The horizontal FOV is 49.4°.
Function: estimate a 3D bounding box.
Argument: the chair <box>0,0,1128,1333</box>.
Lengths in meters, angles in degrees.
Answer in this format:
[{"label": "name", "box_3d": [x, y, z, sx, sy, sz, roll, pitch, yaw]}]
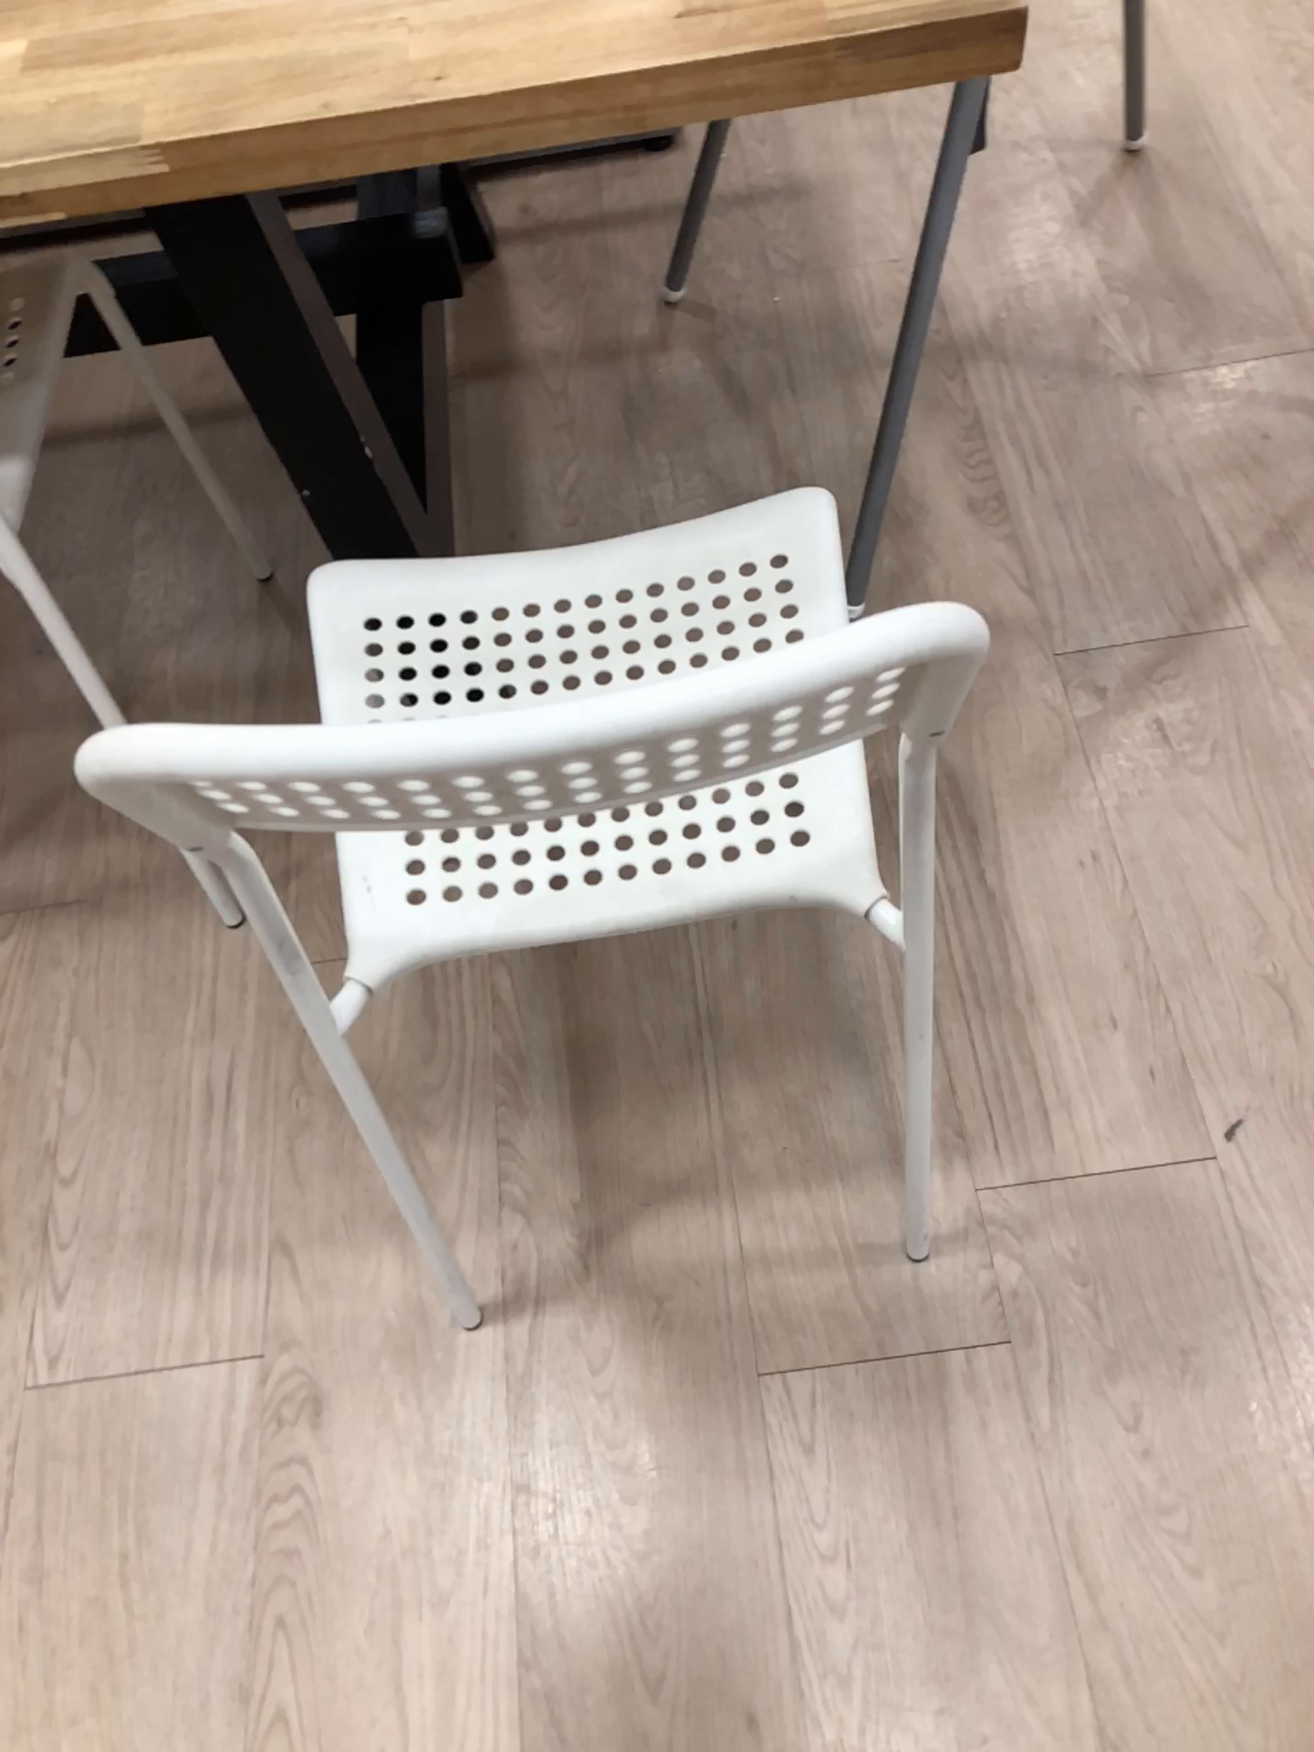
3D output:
[{"label": "chair", "box_3d": [-0.036, -0.051, 0.895, 0.420, 0.697, 0.452, -8, 58, 3]}]
